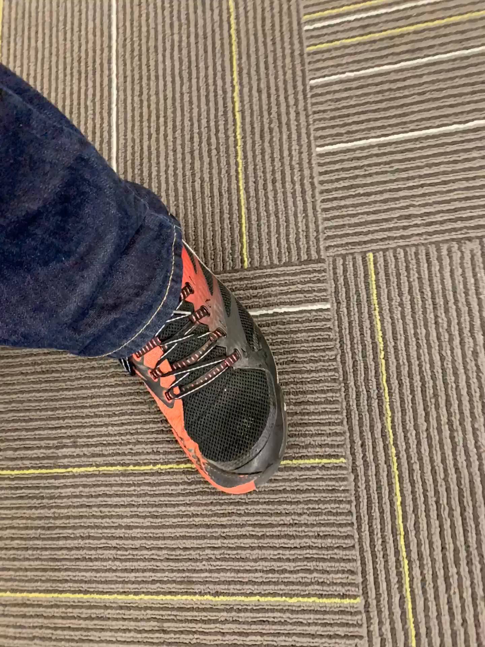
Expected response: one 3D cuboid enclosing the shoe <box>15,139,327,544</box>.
[{"bbox_3d":[-0.062,0.010,0.442,0.130,0.100,0.300,-32,75,5],"label":"shoe"}]
